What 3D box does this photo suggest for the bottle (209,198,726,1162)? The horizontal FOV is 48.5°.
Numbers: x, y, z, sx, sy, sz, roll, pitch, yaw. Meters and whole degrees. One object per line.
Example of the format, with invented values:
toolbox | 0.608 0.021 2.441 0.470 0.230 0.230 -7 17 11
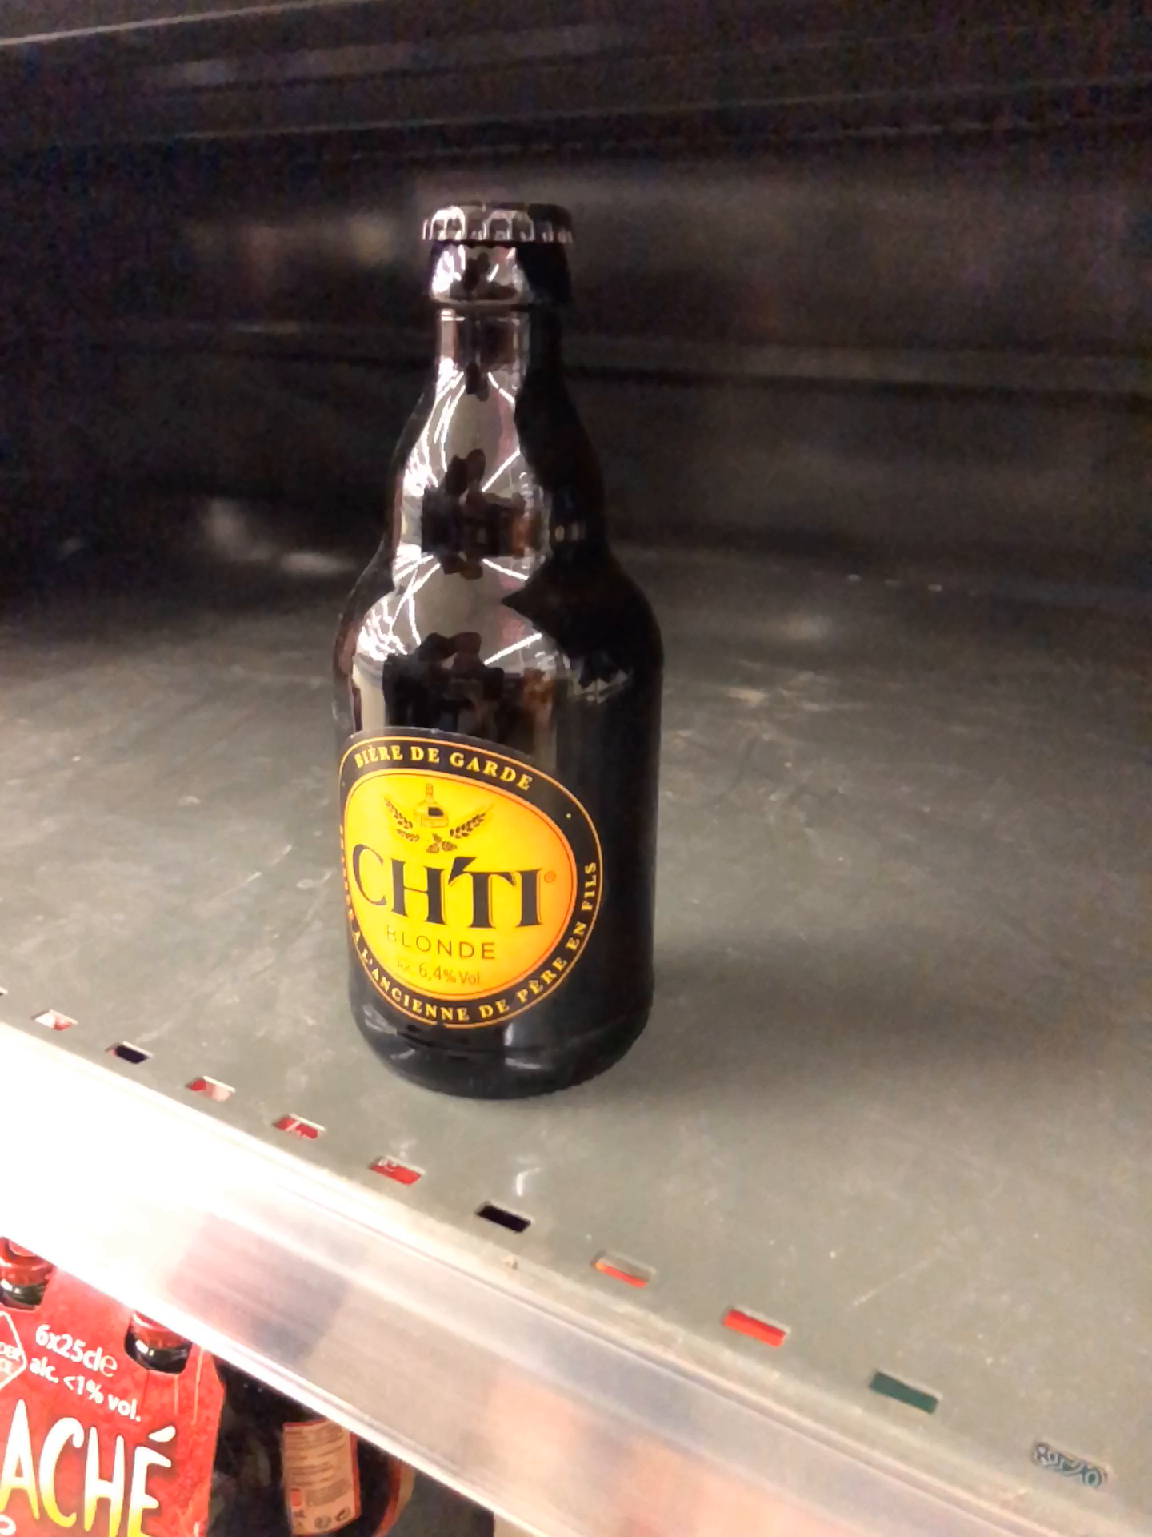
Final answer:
bottle | -0.017 -0.020 0.260 0.070 0.169 0.070 0 19 0
